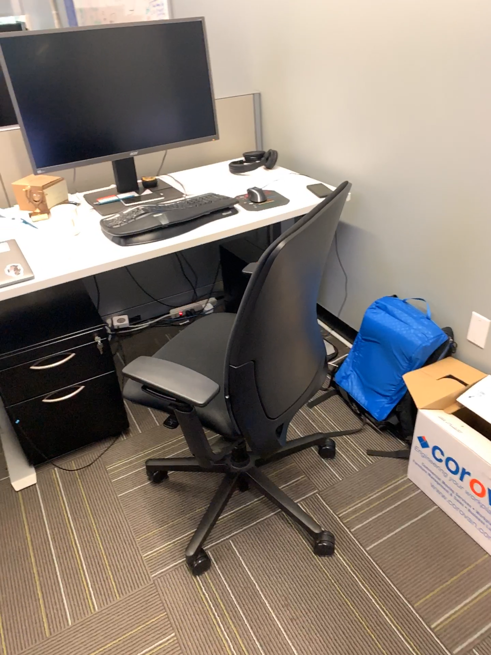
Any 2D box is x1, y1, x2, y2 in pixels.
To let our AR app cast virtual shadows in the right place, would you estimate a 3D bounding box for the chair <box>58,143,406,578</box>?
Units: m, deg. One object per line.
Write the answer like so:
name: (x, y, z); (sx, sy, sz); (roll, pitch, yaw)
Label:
chair: (0.058, 0.029, 1.569); (0.611, 0.944, 0.833); (12, 36, 23)
